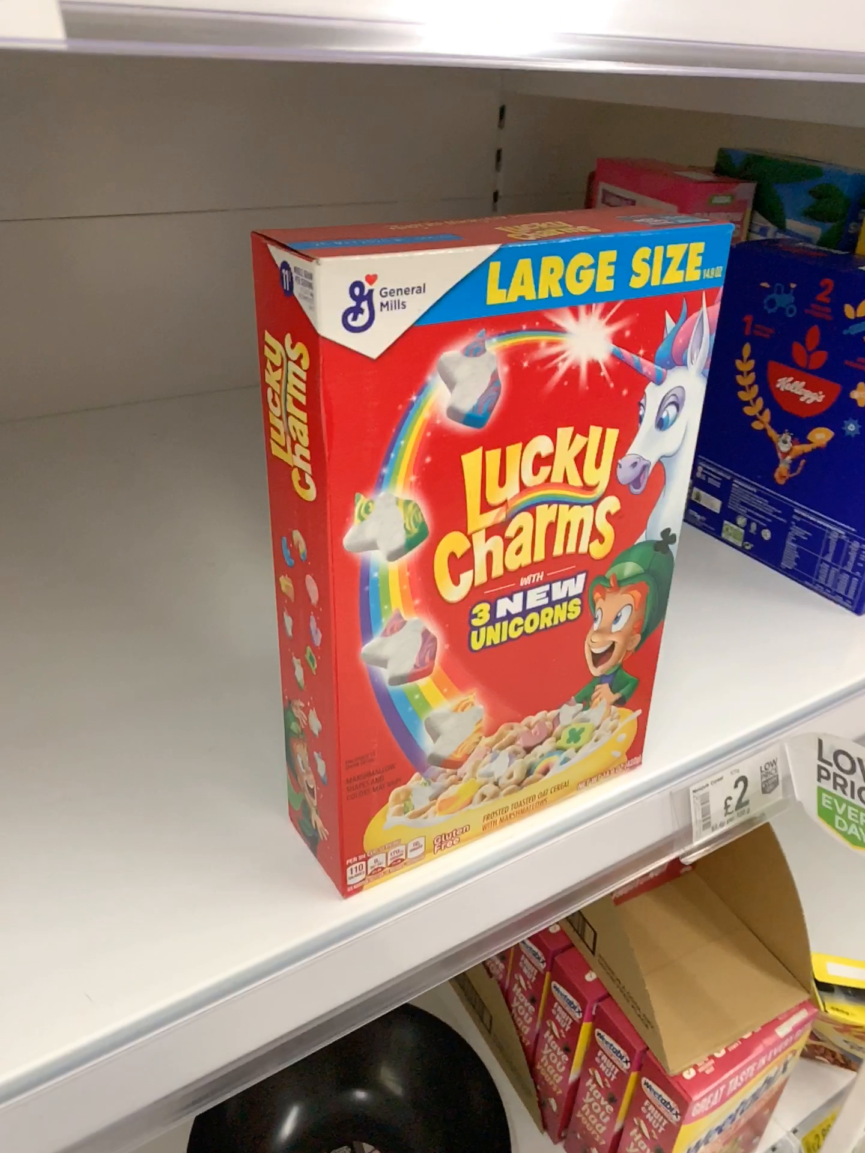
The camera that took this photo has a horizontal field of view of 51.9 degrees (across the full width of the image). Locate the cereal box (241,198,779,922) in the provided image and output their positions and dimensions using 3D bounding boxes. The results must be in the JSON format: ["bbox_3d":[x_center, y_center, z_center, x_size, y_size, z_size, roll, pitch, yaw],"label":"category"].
[{"bbox_3d":[0.033,-0.010,0.419,0.211,0.297,0.070,-15,33,-29],"label":"cereal box"}]
